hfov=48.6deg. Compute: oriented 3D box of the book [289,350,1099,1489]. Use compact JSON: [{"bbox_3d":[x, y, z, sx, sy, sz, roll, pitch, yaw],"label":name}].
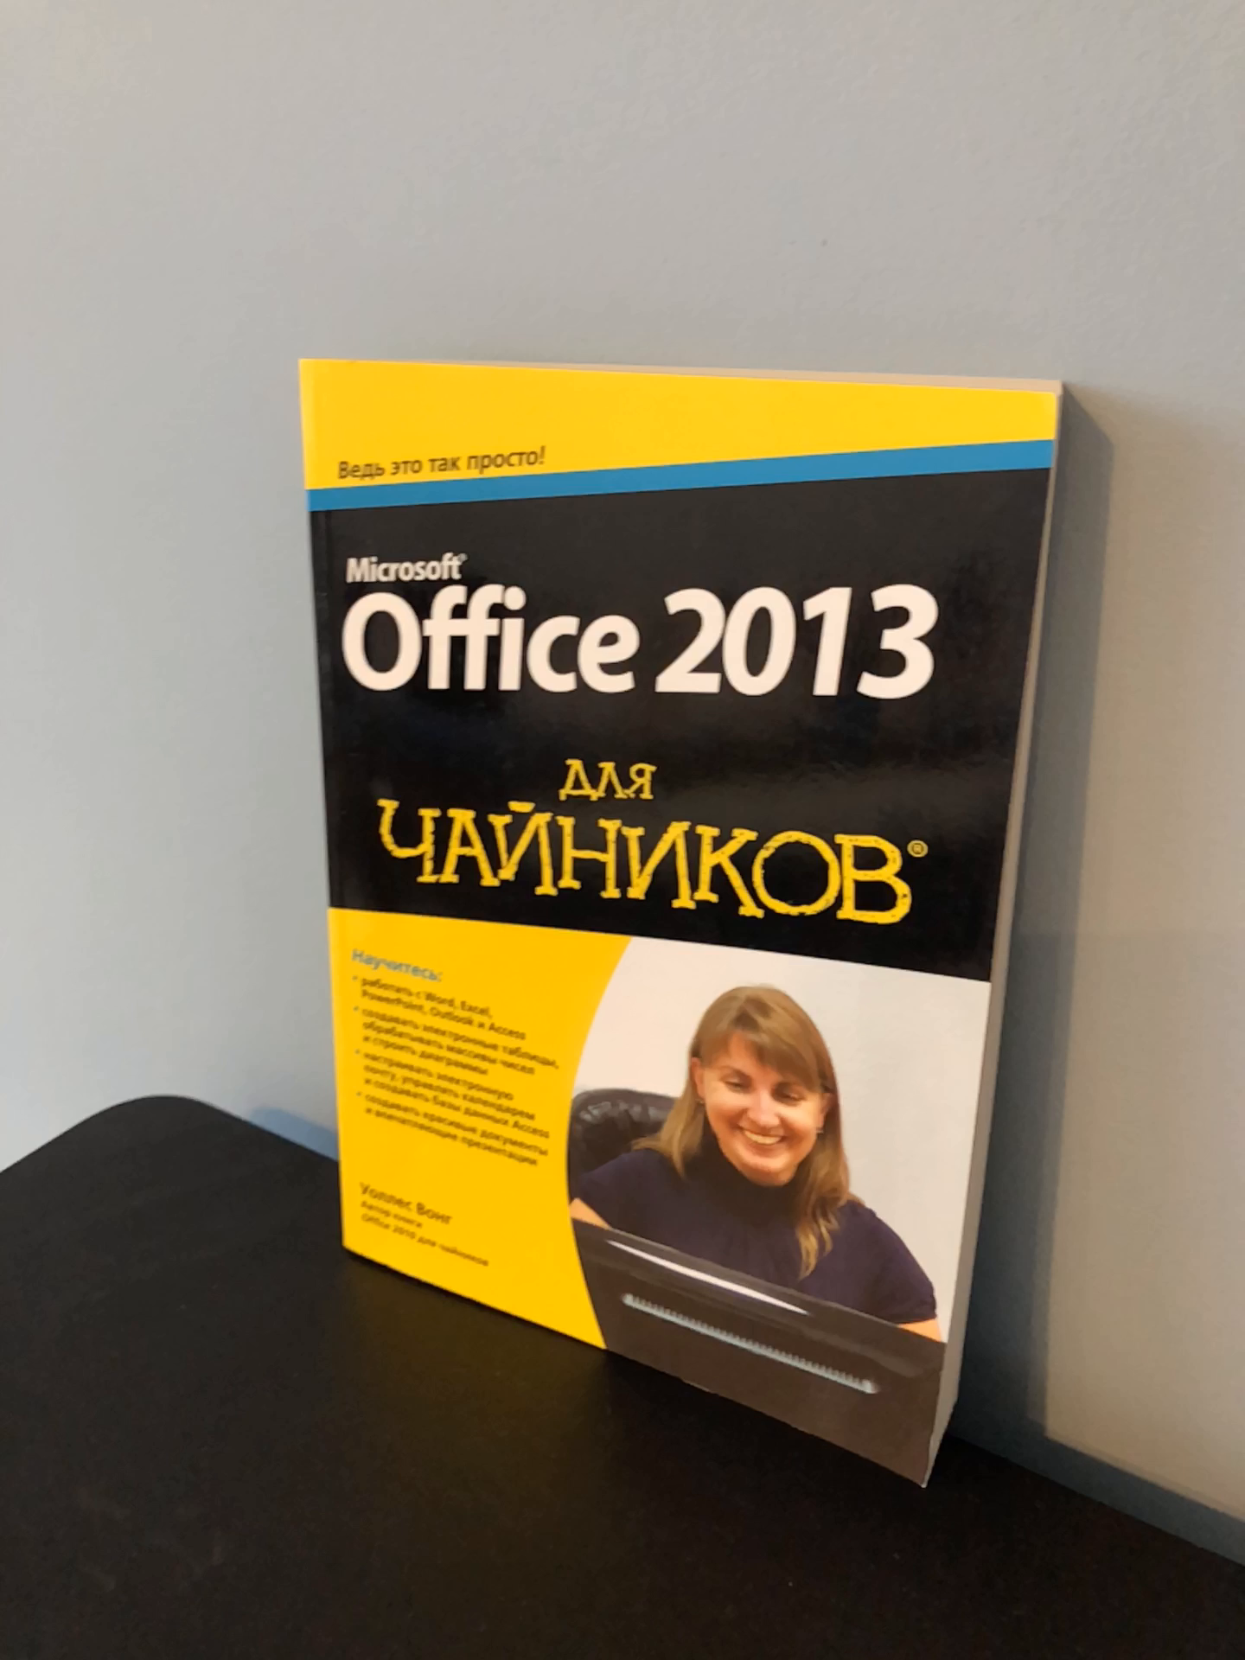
[{"bbox_3d":[0.006,0.016,0.314,0.164,0.233,0.031,11,22,27],"label":"book"}]
